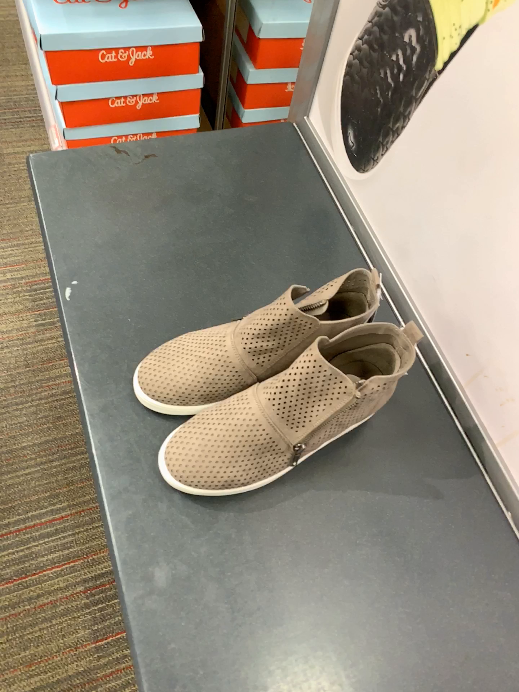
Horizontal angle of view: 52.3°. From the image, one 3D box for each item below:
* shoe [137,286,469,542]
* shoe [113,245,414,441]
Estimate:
[{"bbox_3d":[0.031,0.061,0.476,0.250,0.140,0.100,-20,66,-20],"label":"shoe"},{"bbox_3d":[-0.004,-0.002,0.525,0.250,0.140,0.100,-10,63,-15],"label":"shoe"}]
